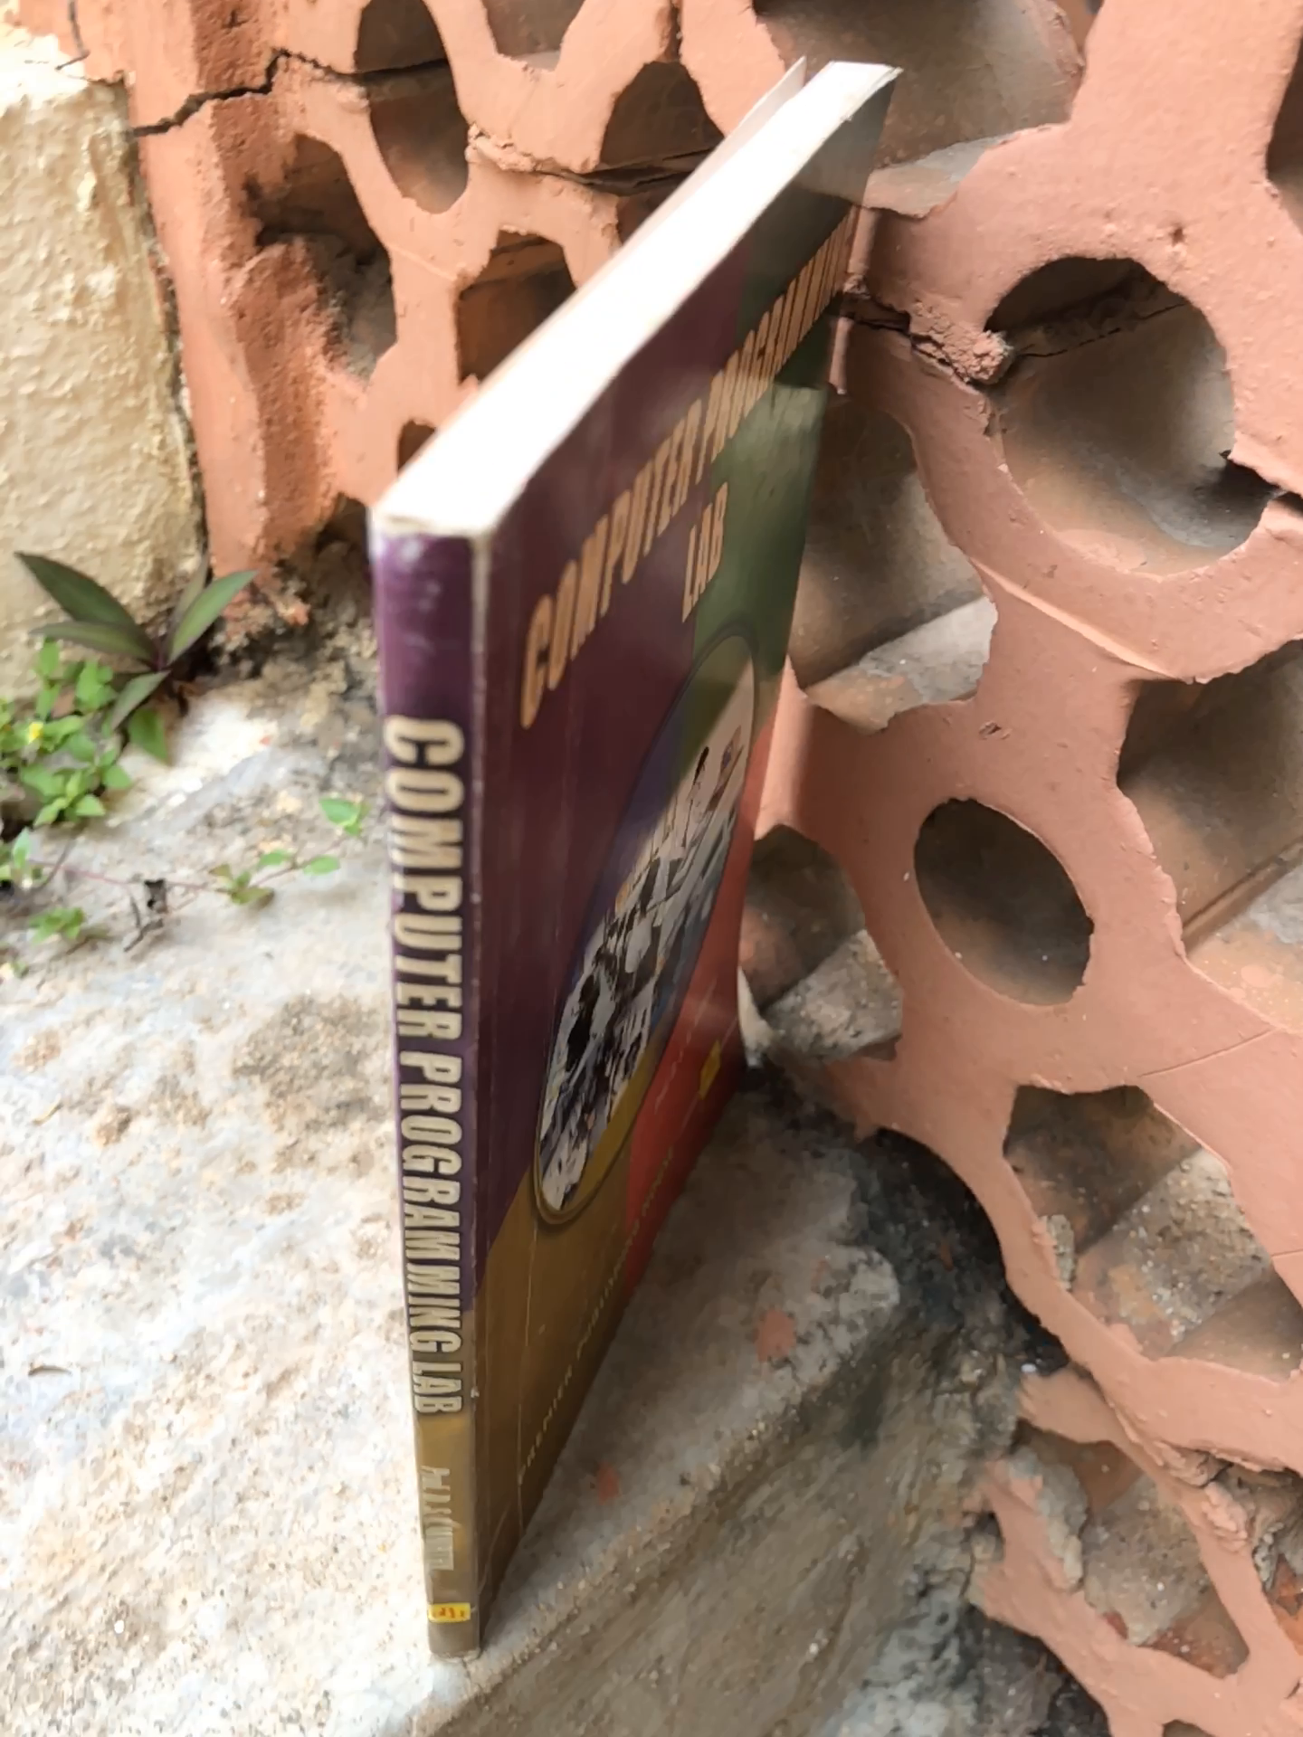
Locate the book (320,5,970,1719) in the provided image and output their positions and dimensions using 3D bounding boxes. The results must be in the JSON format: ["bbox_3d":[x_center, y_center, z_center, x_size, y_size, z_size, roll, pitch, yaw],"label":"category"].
[{"bbox_3d":[0.000,0.008,0.255,0.020,0.249,0.181,17,43,10],"label":"book"}]
